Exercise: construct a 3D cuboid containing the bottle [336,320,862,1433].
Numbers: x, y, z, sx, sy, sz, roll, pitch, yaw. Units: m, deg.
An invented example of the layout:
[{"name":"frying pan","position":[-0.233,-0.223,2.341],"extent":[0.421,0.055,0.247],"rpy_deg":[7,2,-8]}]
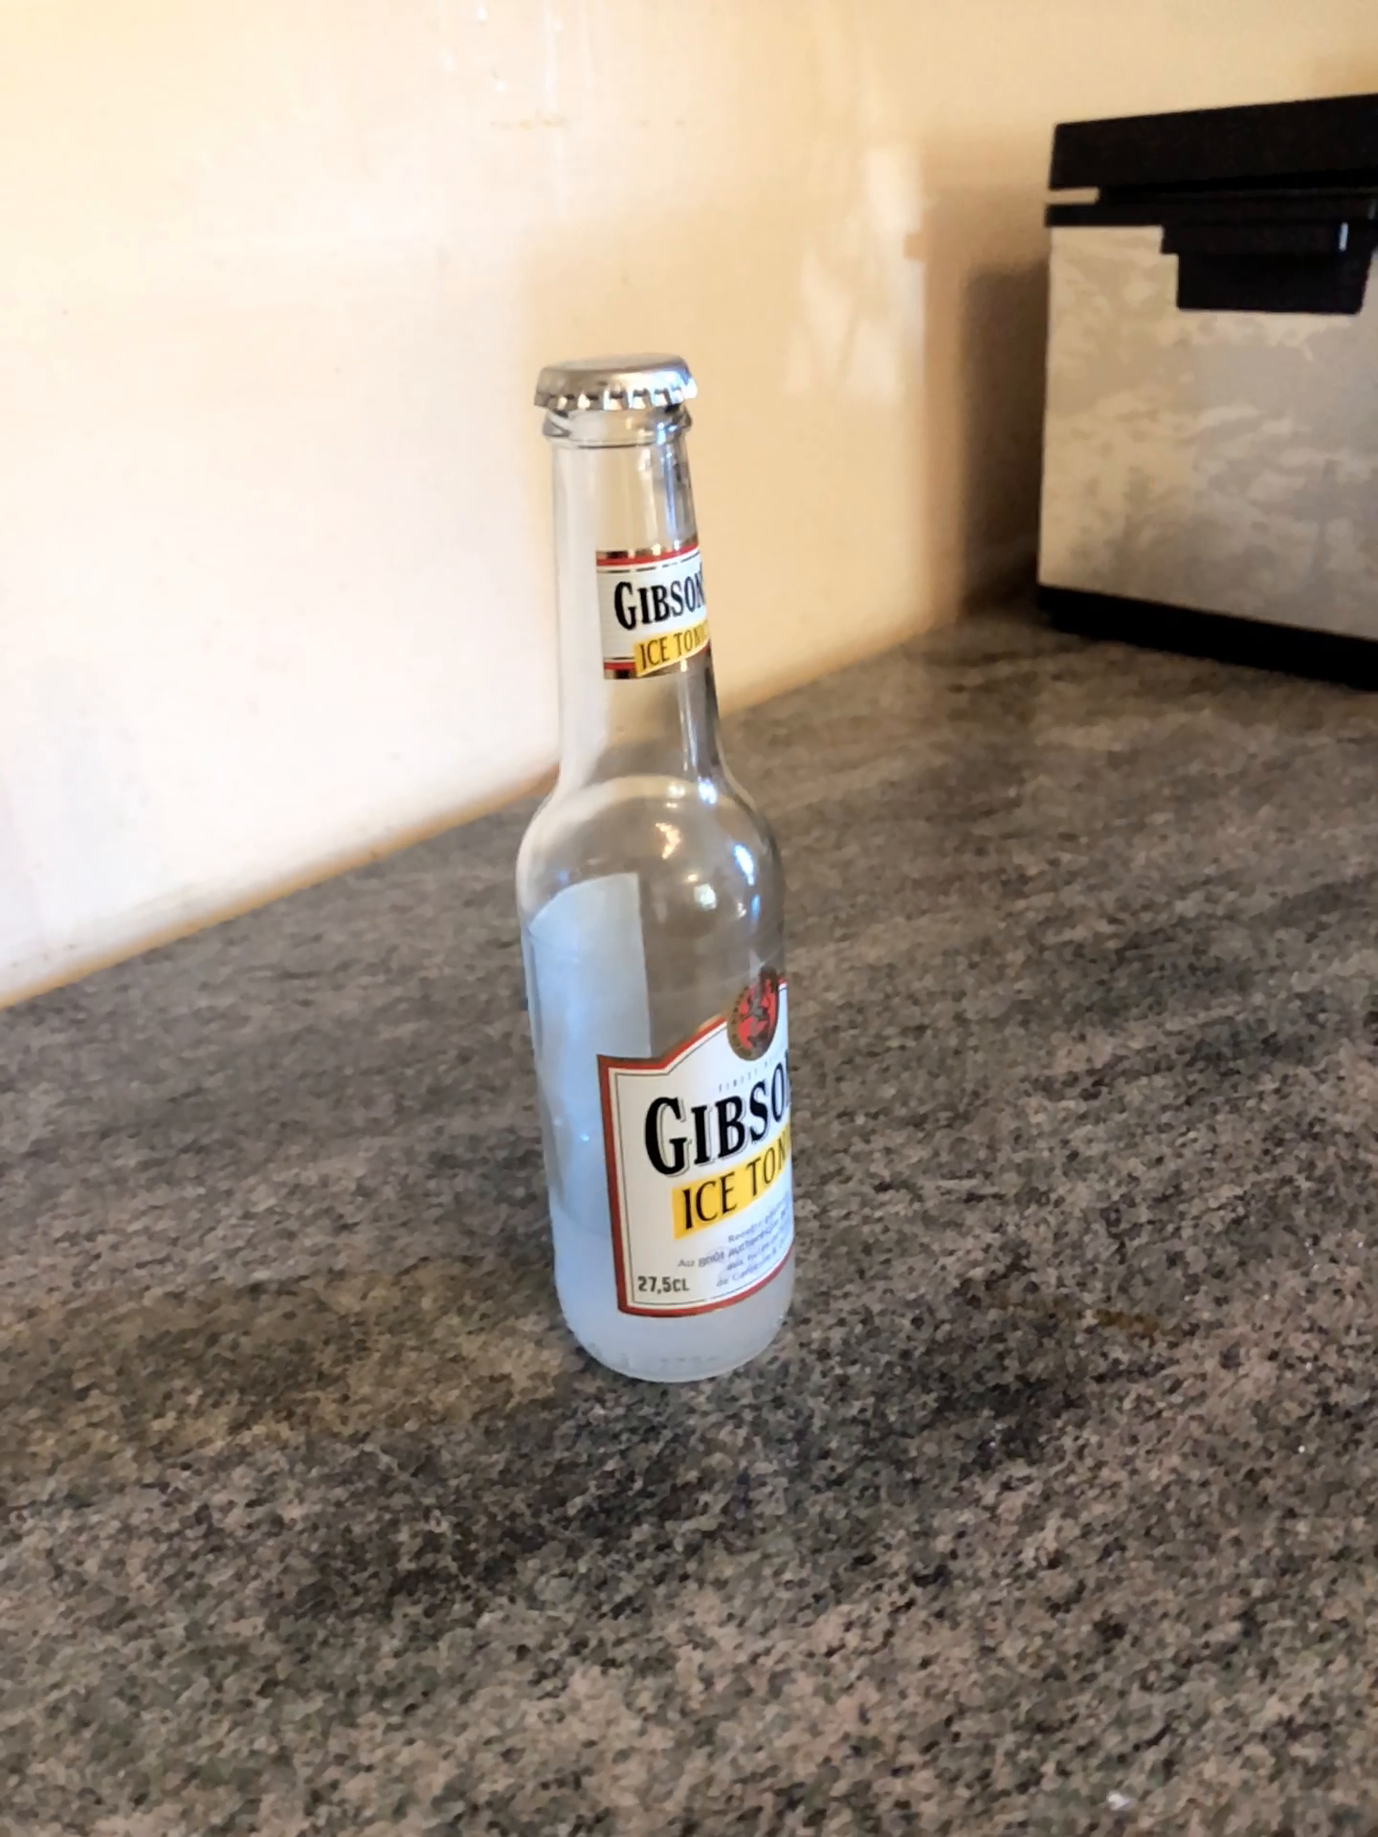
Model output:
[{"name":"bottle","position":[-0.010,-0.008,0.314],"extent":[0.060,0.209,0.070],"rpy_deg":[16,31,36]}]
